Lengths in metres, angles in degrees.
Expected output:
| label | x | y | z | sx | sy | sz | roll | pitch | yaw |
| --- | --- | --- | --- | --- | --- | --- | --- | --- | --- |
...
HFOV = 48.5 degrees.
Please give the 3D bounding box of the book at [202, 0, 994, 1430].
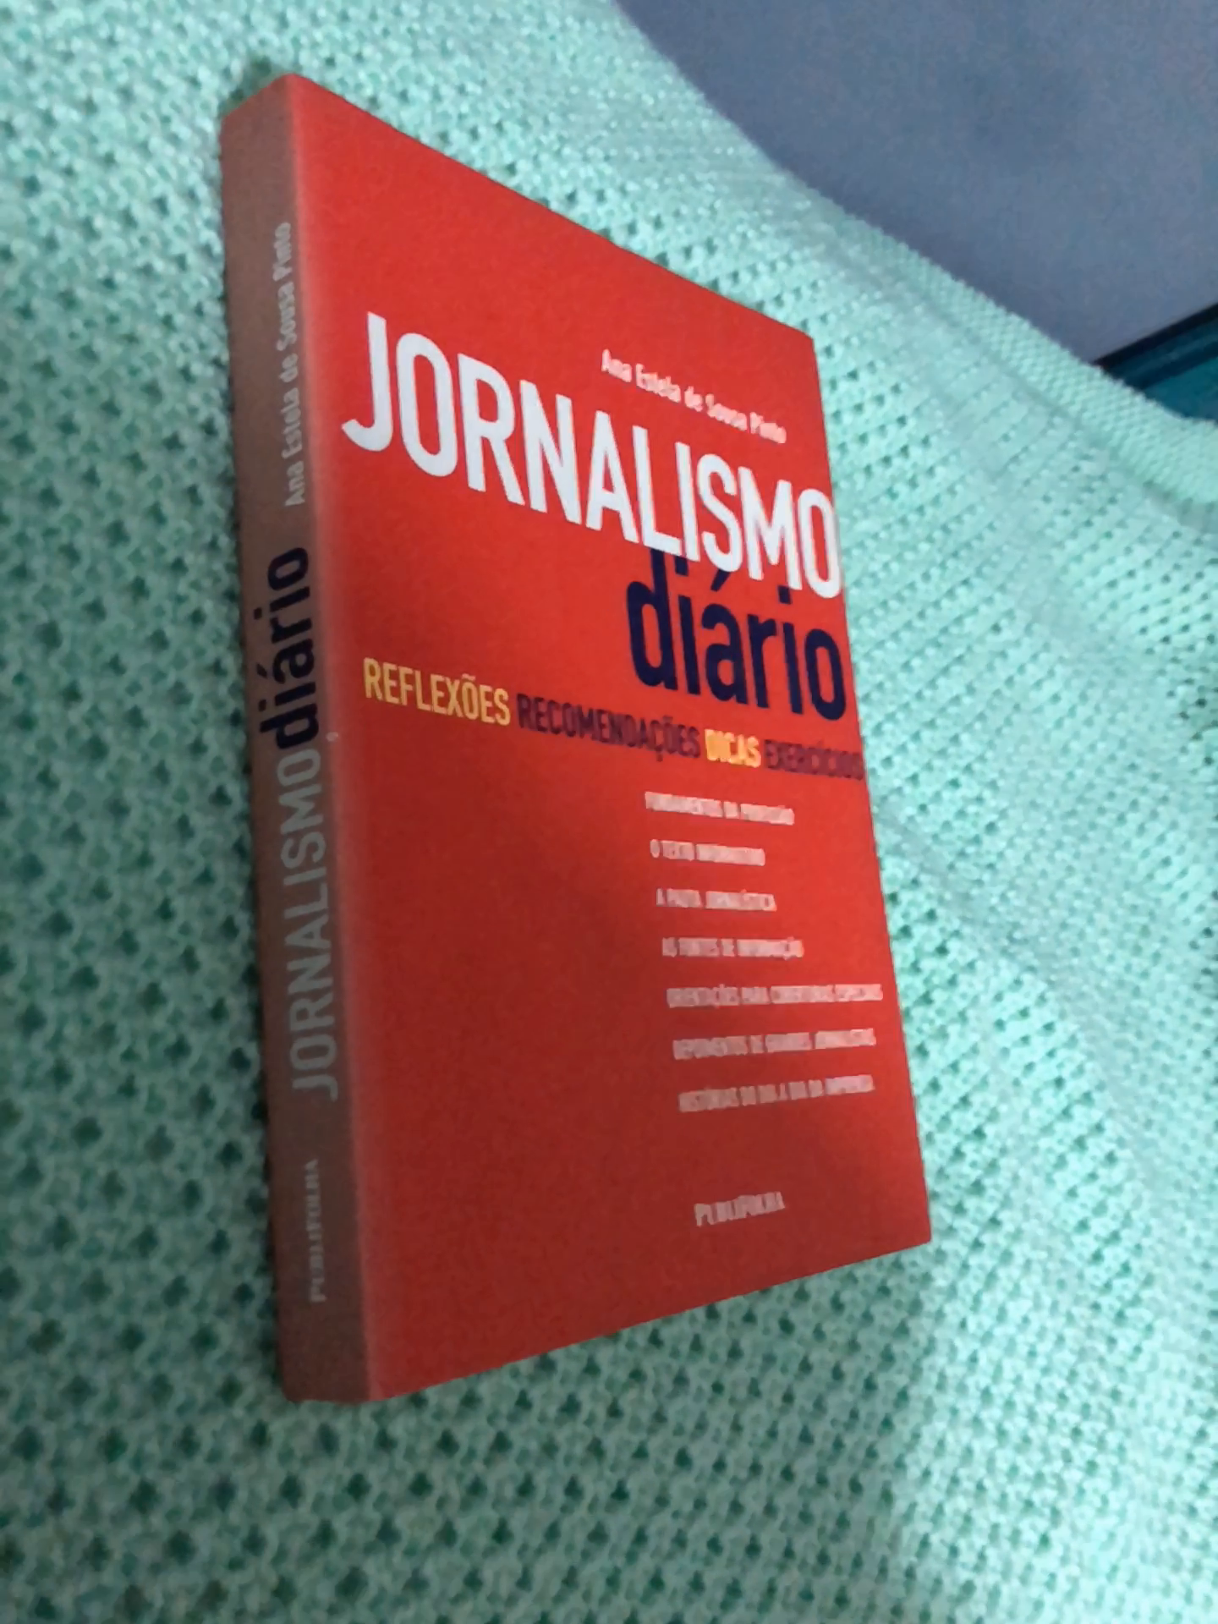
| label | x | y | z | sx | sy | sz | roll | pitch | yaw |
| --- | --- | --- | --- | --- | --- | --- | --- | --- | --- |
| book | 0.003 | -0.028 | 0.276 | 0.161 | 0.030 | 0.250 | 6 | 73 | -42 |
